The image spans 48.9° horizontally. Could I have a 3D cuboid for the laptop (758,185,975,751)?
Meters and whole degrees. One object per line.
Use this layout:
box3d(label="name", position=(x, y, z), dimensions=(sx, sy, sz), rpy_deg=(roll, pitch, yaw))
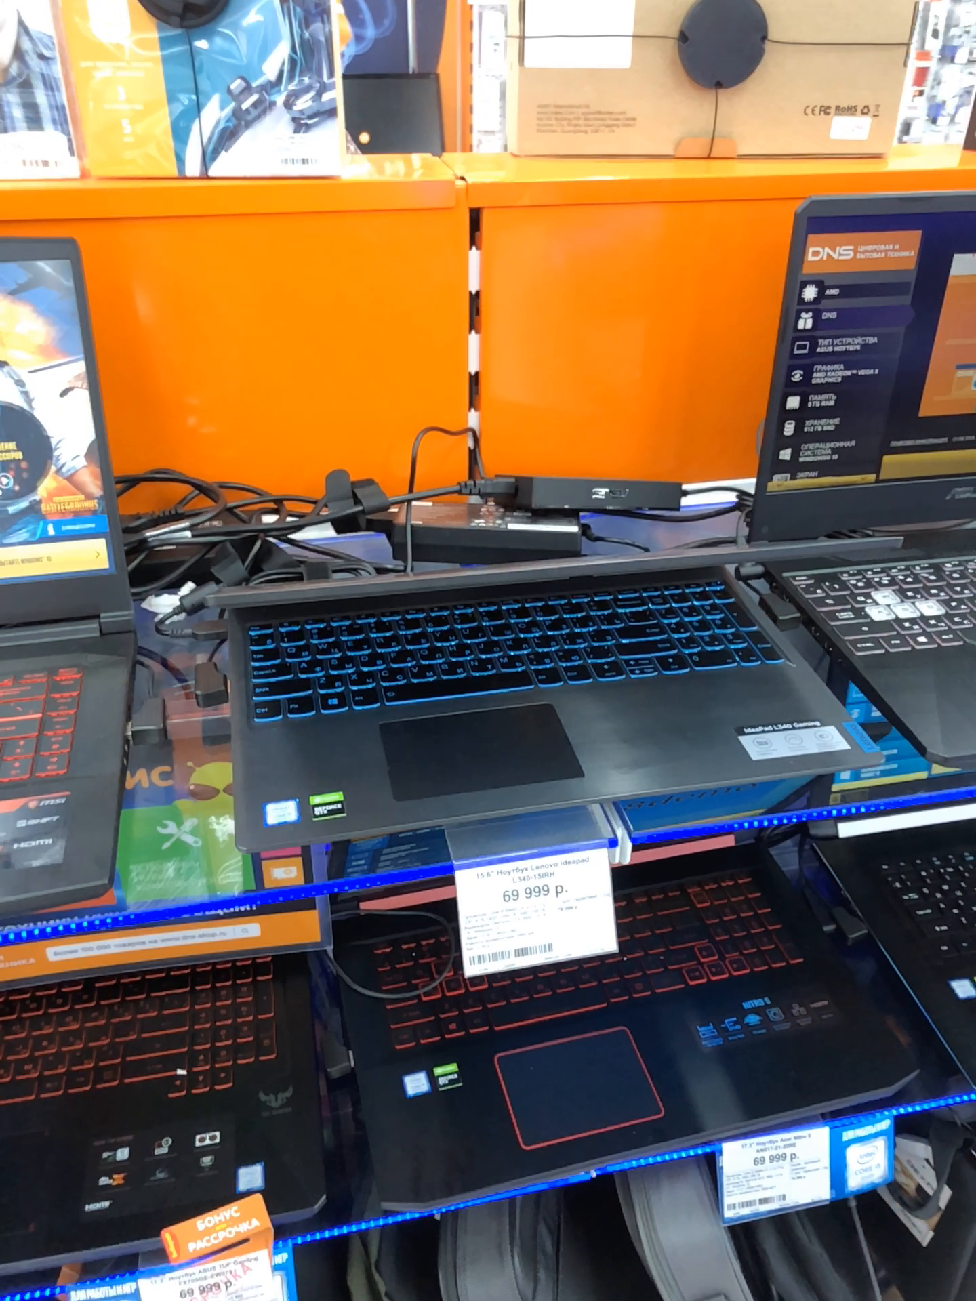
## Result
box3d(label="laptop", position=(0.423, -0.142, 0.702), dimensions=(0.384, 0.250, 0.278), rpy_deg=(-5, 32, -10))

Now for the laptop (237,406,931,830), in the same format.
box3d(label="laptop", position=(0.033, -0.040, 0.655), dimensions=(0.348, 0.117, 0.242), rpy_deg=(-6, 33, -10))

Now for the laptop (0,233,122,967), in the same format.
box3d(label="laptop", position=(-0.396, -0.062, 0.556), dimensions=(0.348, 0.228, 0.326), rpy_deg=(-5, 32, -13))
